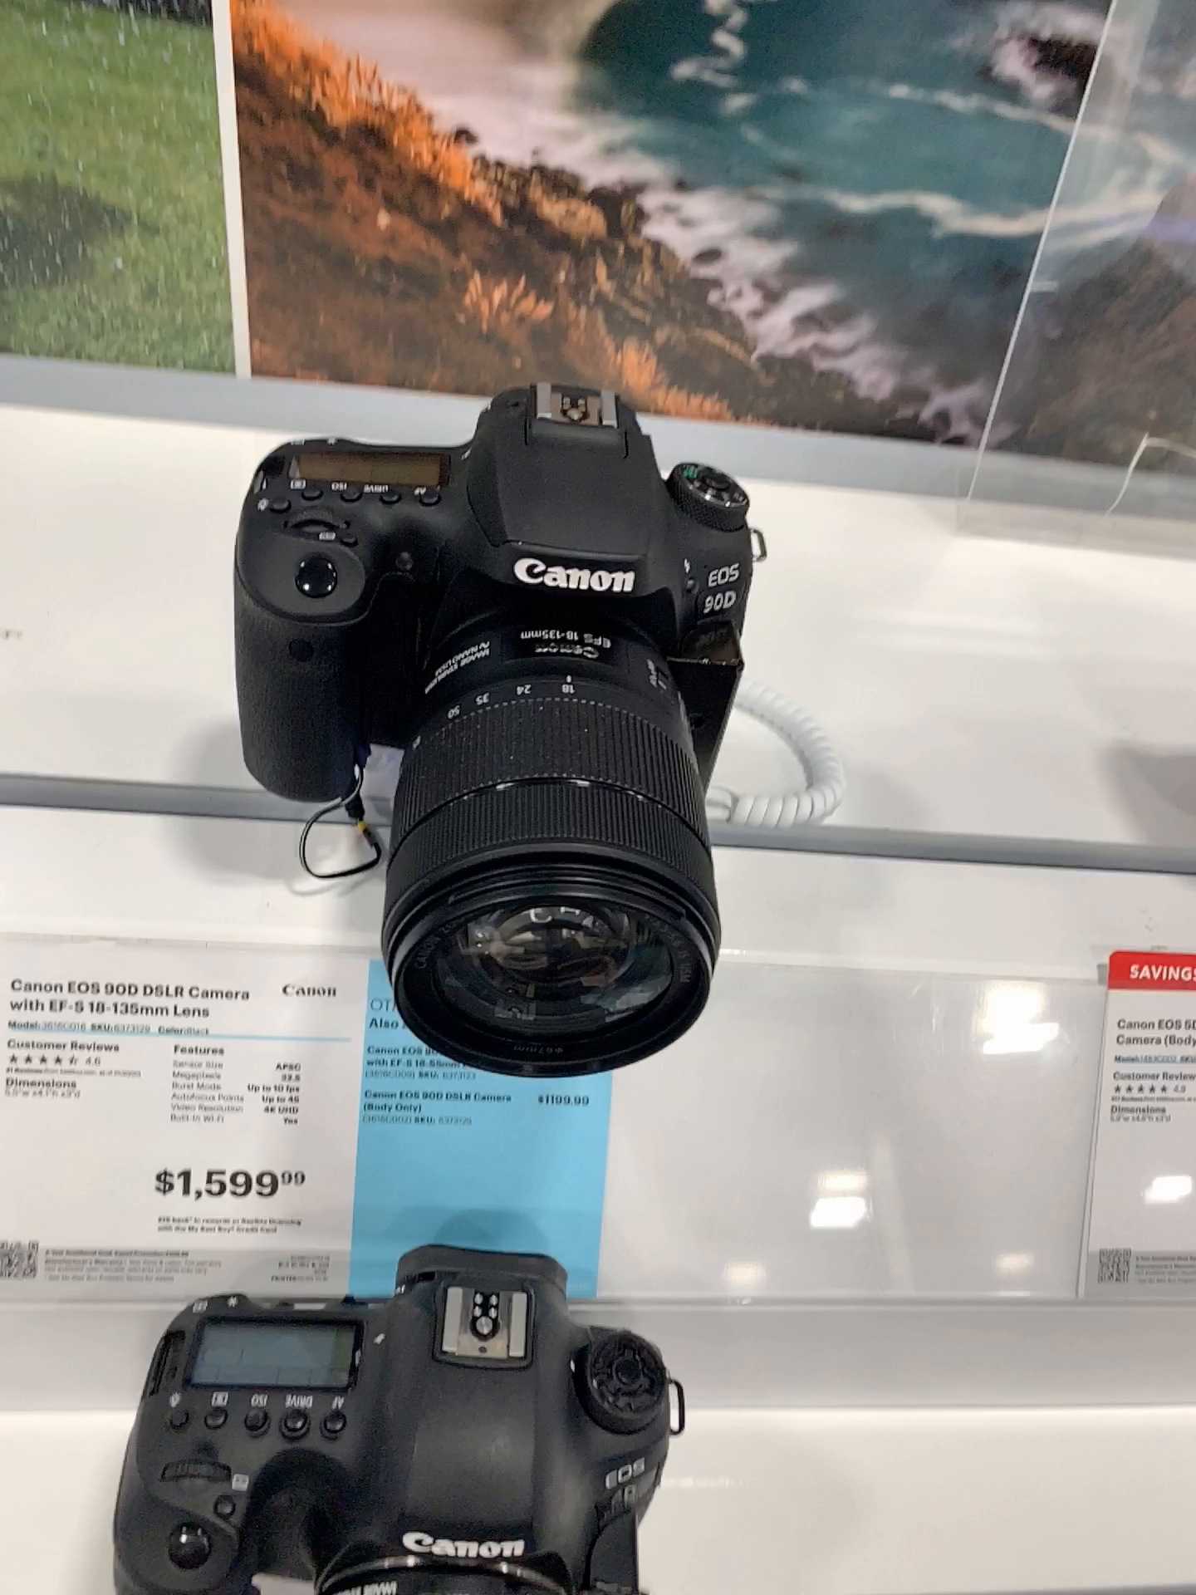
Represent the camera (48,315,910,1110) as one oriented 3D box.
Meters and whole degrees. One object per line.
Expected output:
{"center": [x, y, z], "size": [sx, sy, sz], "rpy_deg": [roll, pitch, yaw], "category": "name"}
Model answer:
{"center": [-0.028, -0.026, 0.309], "size": [0.148, 0.104, 0.171], "rpy_deg": [3, 44, -7], "category": "camera"}
